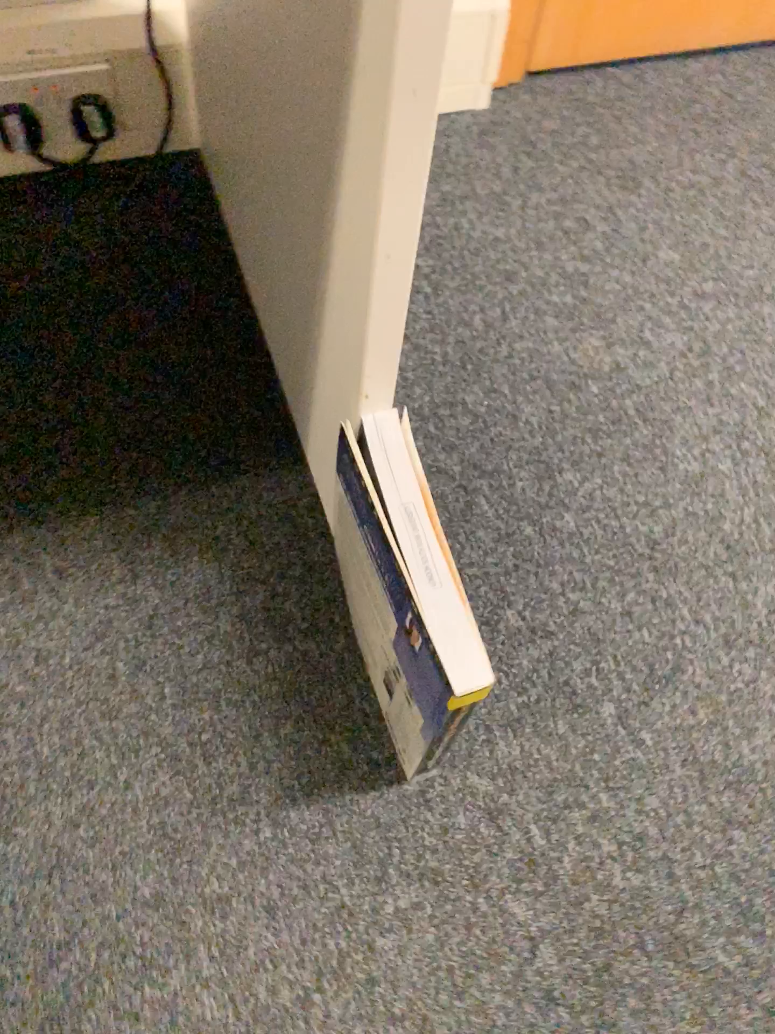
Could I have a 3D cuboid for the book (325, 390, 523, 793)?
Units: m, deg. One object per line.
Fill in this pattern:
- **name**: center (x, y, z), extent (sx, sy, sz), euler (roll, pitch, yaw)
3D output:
- **book**: center (0.008, 0.074, 0.616), extent (0.051, 0.276, 0.212), euler (-14, 63, -13)
